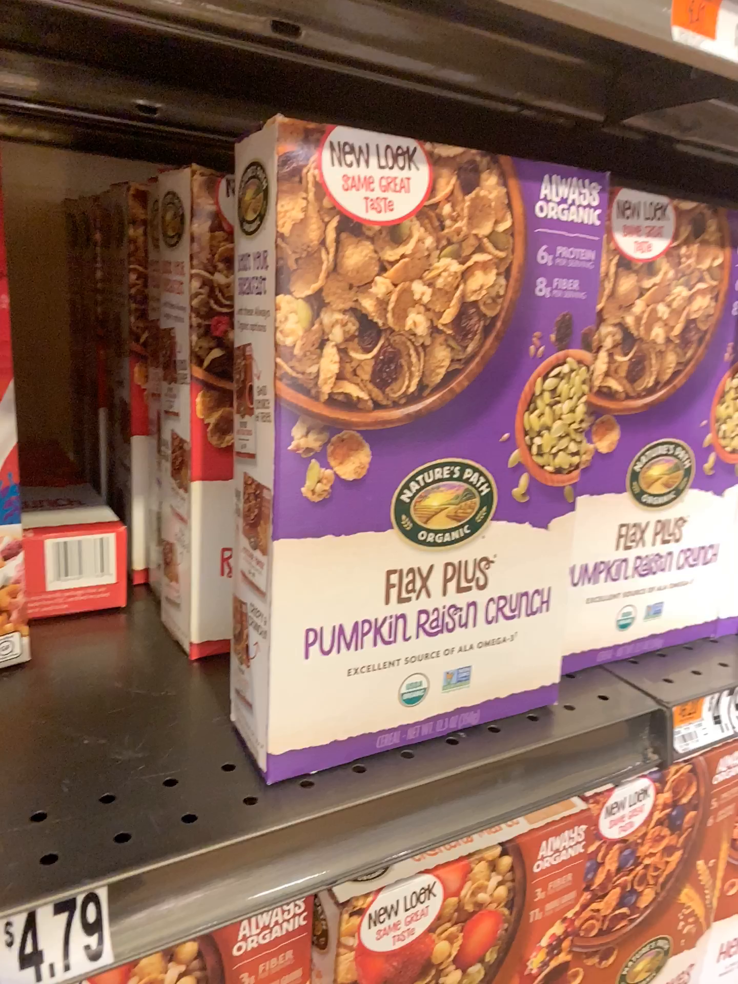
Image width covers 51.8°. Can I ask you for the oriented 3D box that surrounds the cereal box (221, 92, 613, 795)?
[{"bbox_3d":[0.022,-0.017,0.353,0.170,0.269,0.050,-4,12,-30],"label":"cereal box"}]
